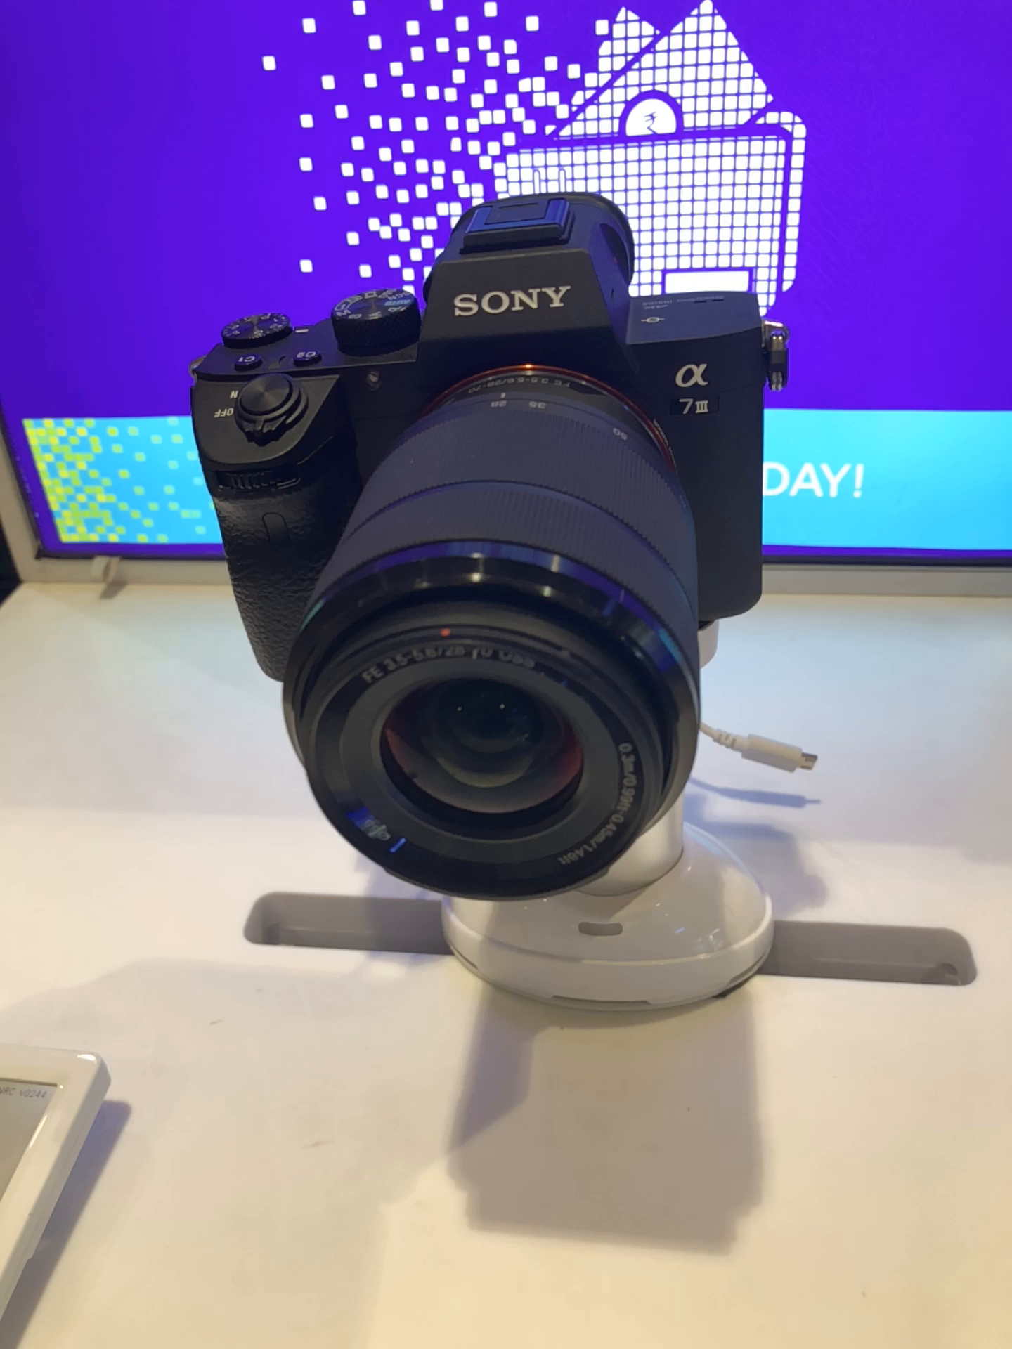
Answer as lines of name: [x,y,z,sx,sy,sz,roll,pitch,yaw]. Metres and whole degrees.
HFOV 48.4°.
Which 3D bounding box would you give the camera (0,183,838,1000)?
camera: [-0.015,-0.024,0.228,0.120,0.109,0.128,-3,34,1]
